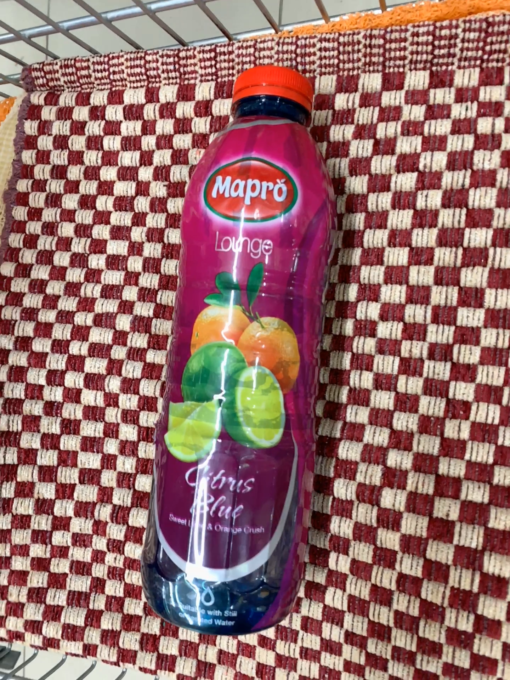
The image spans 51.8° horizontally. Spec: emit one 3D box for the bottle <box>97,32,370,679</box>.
[{"bbox_3d":[-0.008,0.006,0.243,0.090,0.070,0.250,5,95,7],"label":"bottle"}]
